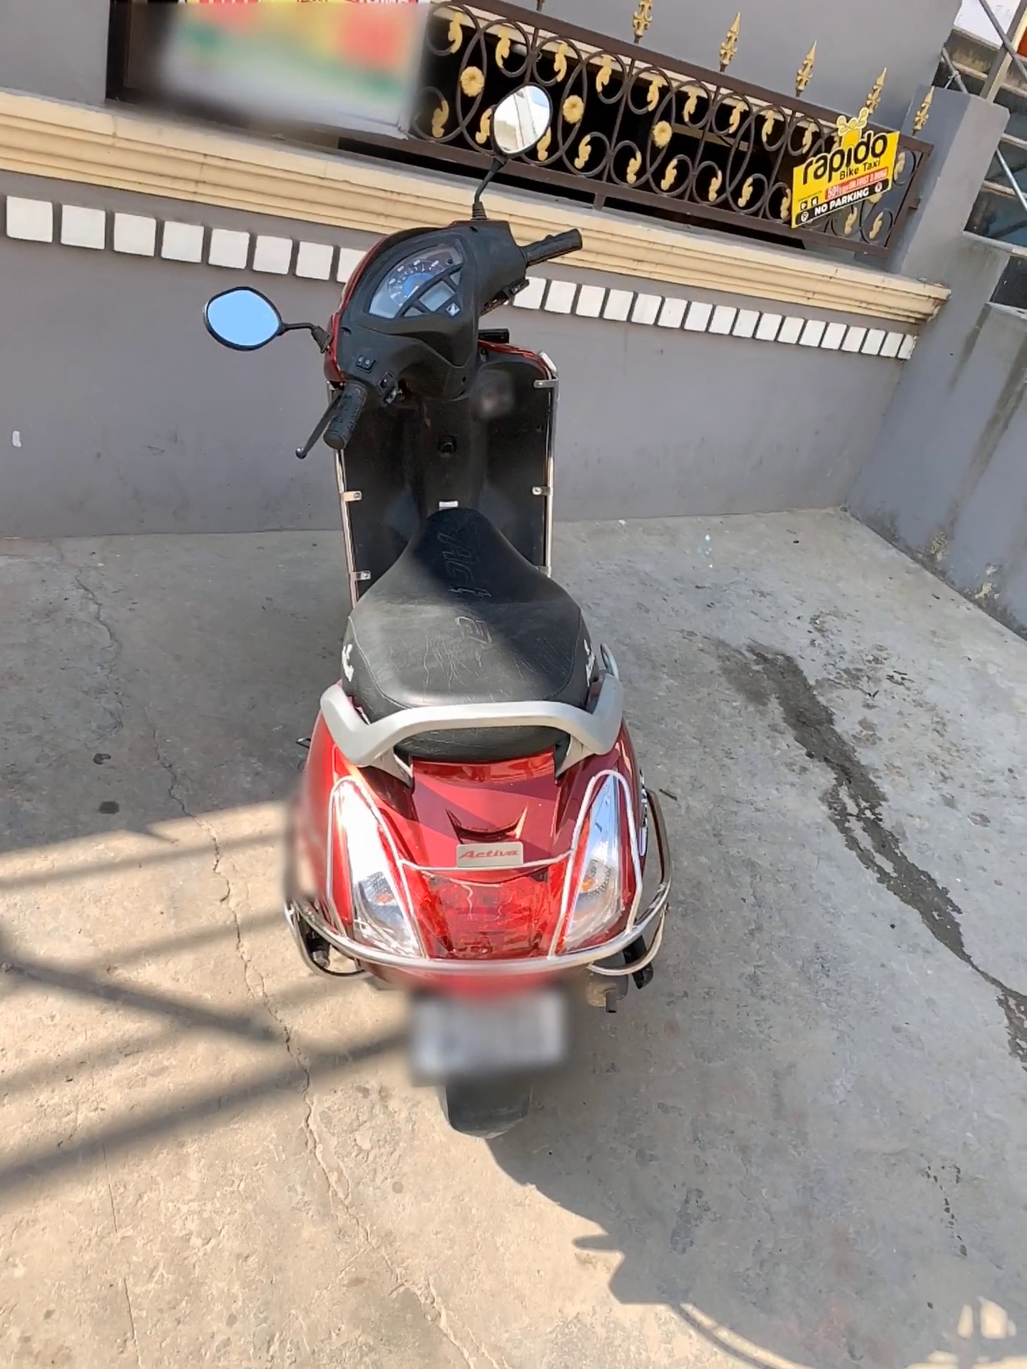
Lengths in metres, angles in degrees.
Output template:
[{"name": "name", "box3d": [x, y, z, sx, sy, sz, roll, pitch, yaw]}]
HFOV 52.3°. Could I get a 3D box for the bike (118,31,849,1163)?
[{"name": "bike", "box3d": [-0.289, -0.337, 1.927, 0.623, 1.164, 1.762, 6, 34, -18]}]
